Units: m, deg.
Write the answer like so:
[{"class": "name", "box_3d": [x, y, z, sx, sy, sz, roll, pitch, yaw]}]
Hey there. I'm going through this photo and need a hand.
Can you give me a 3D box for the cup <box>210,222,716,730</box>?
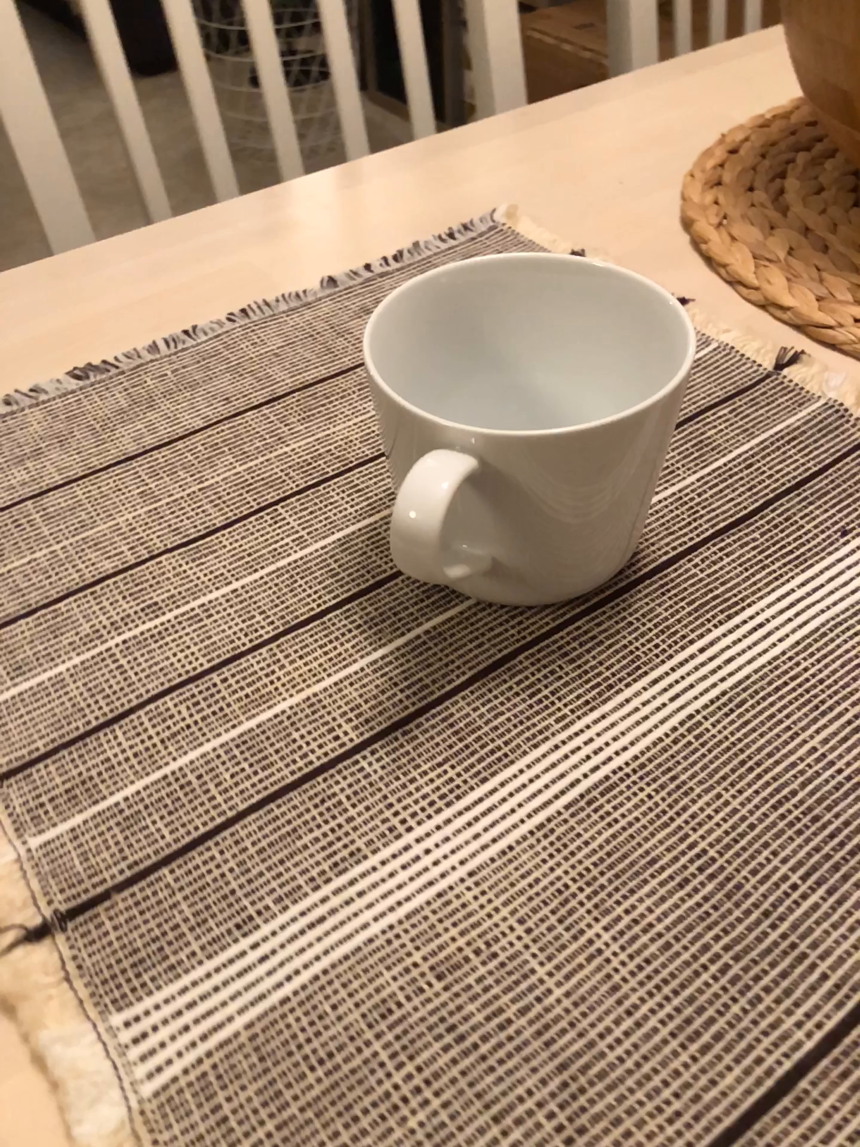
[{"class": "cup", "box_3d": [0.018, -0.040, 0.303, 0.100, 0.070, 0.141, 17, 48, 19]}]
